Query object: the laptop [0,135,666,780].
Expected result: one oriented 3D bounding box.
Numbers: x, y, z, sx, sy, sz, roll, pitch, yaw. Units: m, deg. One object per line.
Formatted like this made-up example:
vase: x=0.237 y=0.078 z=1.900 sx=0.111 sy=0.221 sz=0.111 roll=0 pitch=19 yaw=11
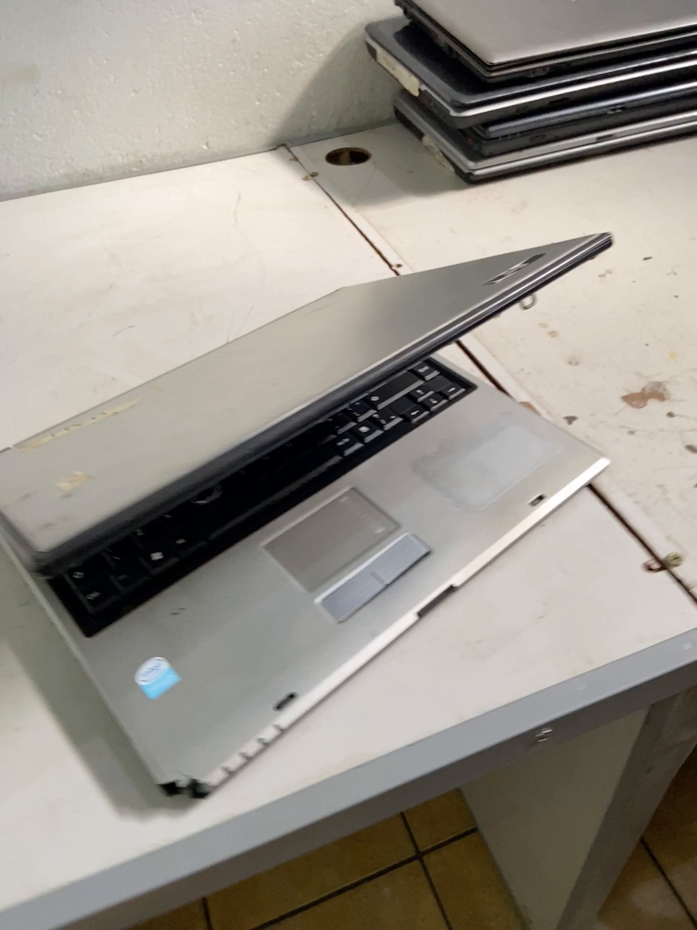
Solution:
laptop: x=-0.042 y=-0.043 z=0.418 sx=0.317 sy=0.130 sz=0.254 roll=-33 pitch=52 yaw=-24
